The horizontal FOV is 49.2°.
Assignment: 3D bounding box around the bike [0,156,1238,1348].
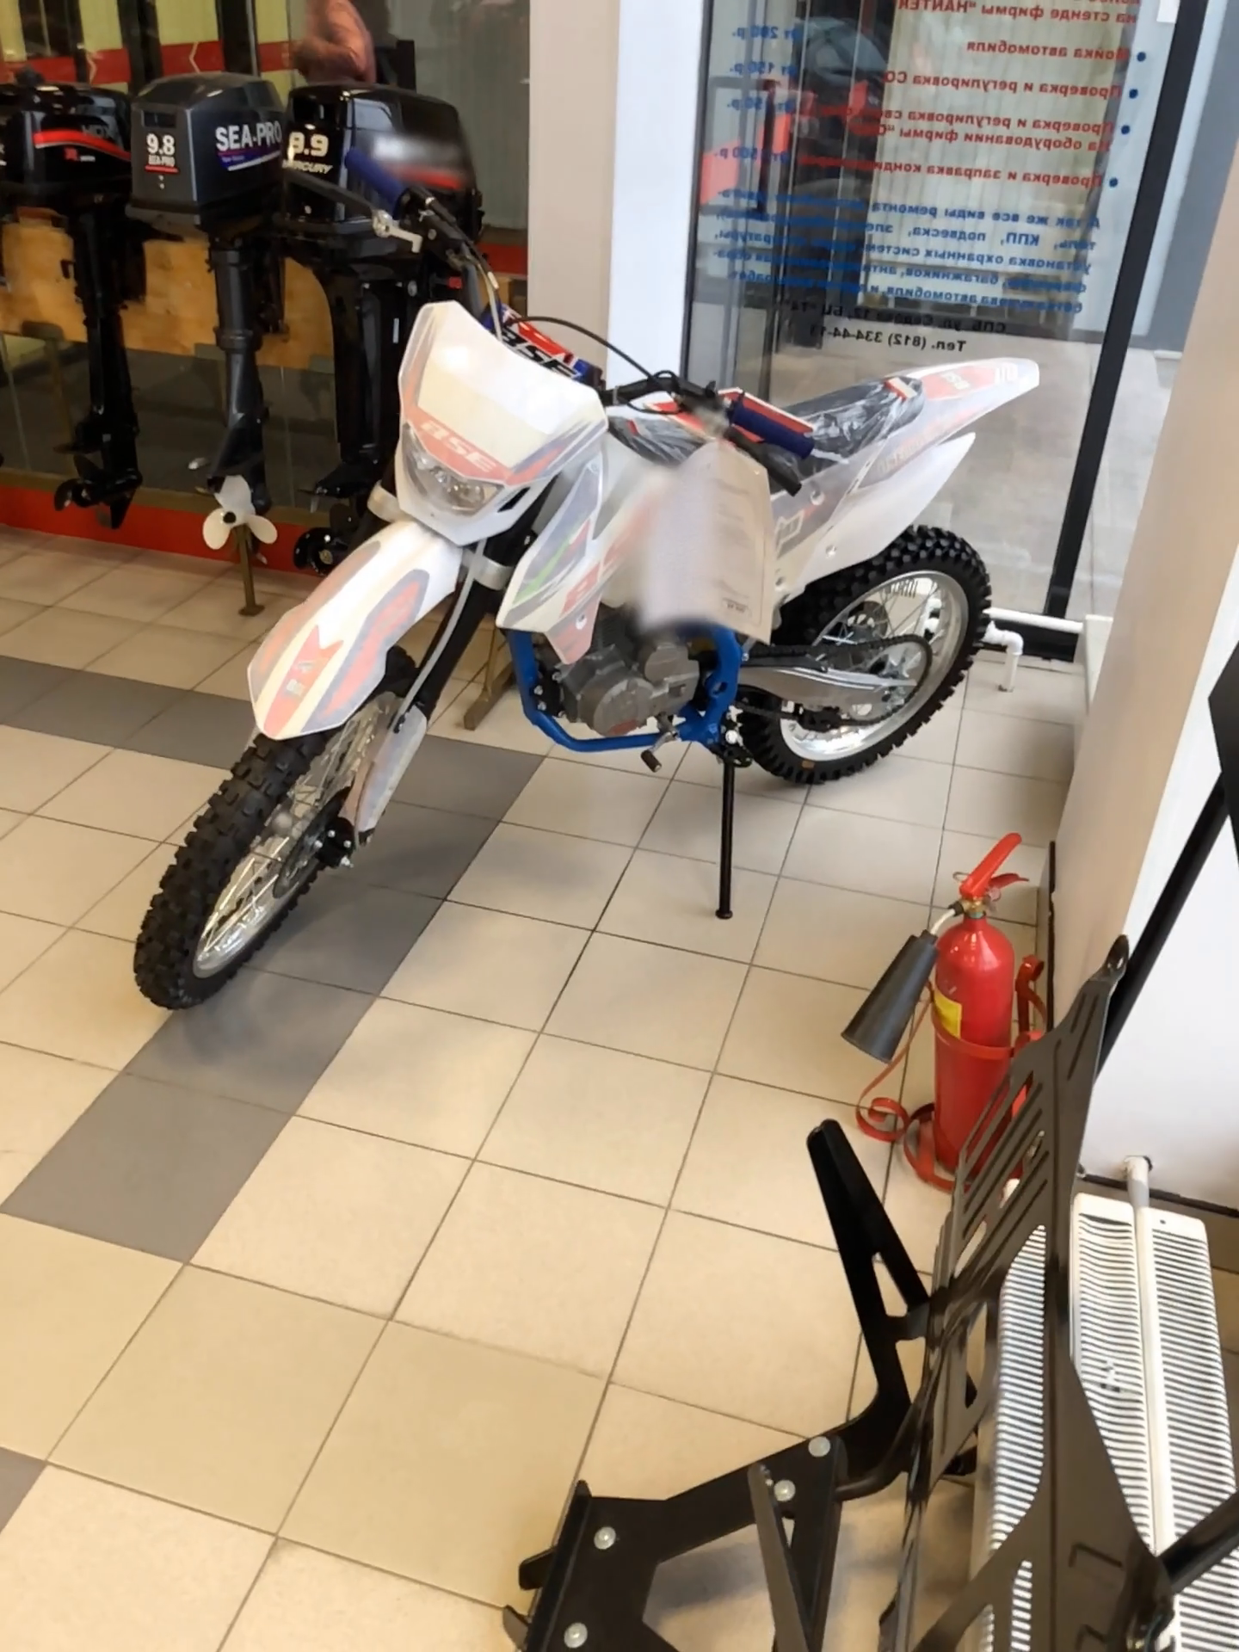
[{"bbox_3d":[0.088,-0.343,2.279,1.849,1.219,0.845,-23,40,-34],"label":"bike"}]
